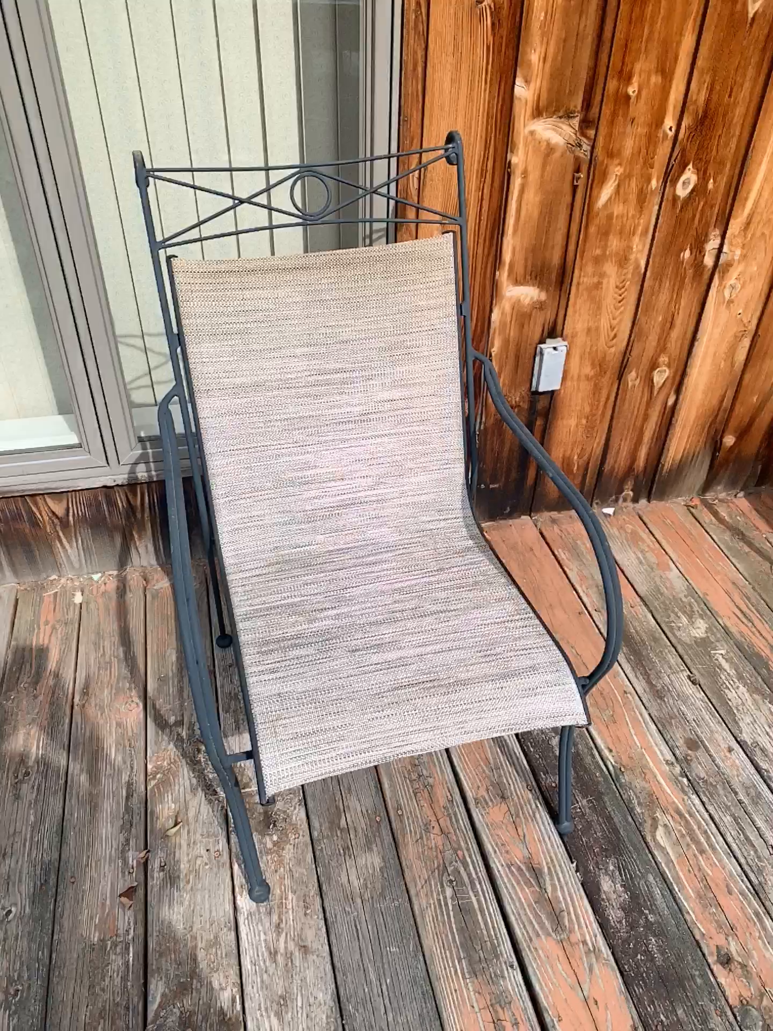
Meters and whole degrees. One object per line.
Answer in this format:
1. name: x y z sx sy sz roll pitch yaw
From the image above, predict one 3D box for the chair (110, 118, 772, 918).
1. chair: -0.014 -0.010 1.212 0.610 0.945 0.653 -9 39 -13
